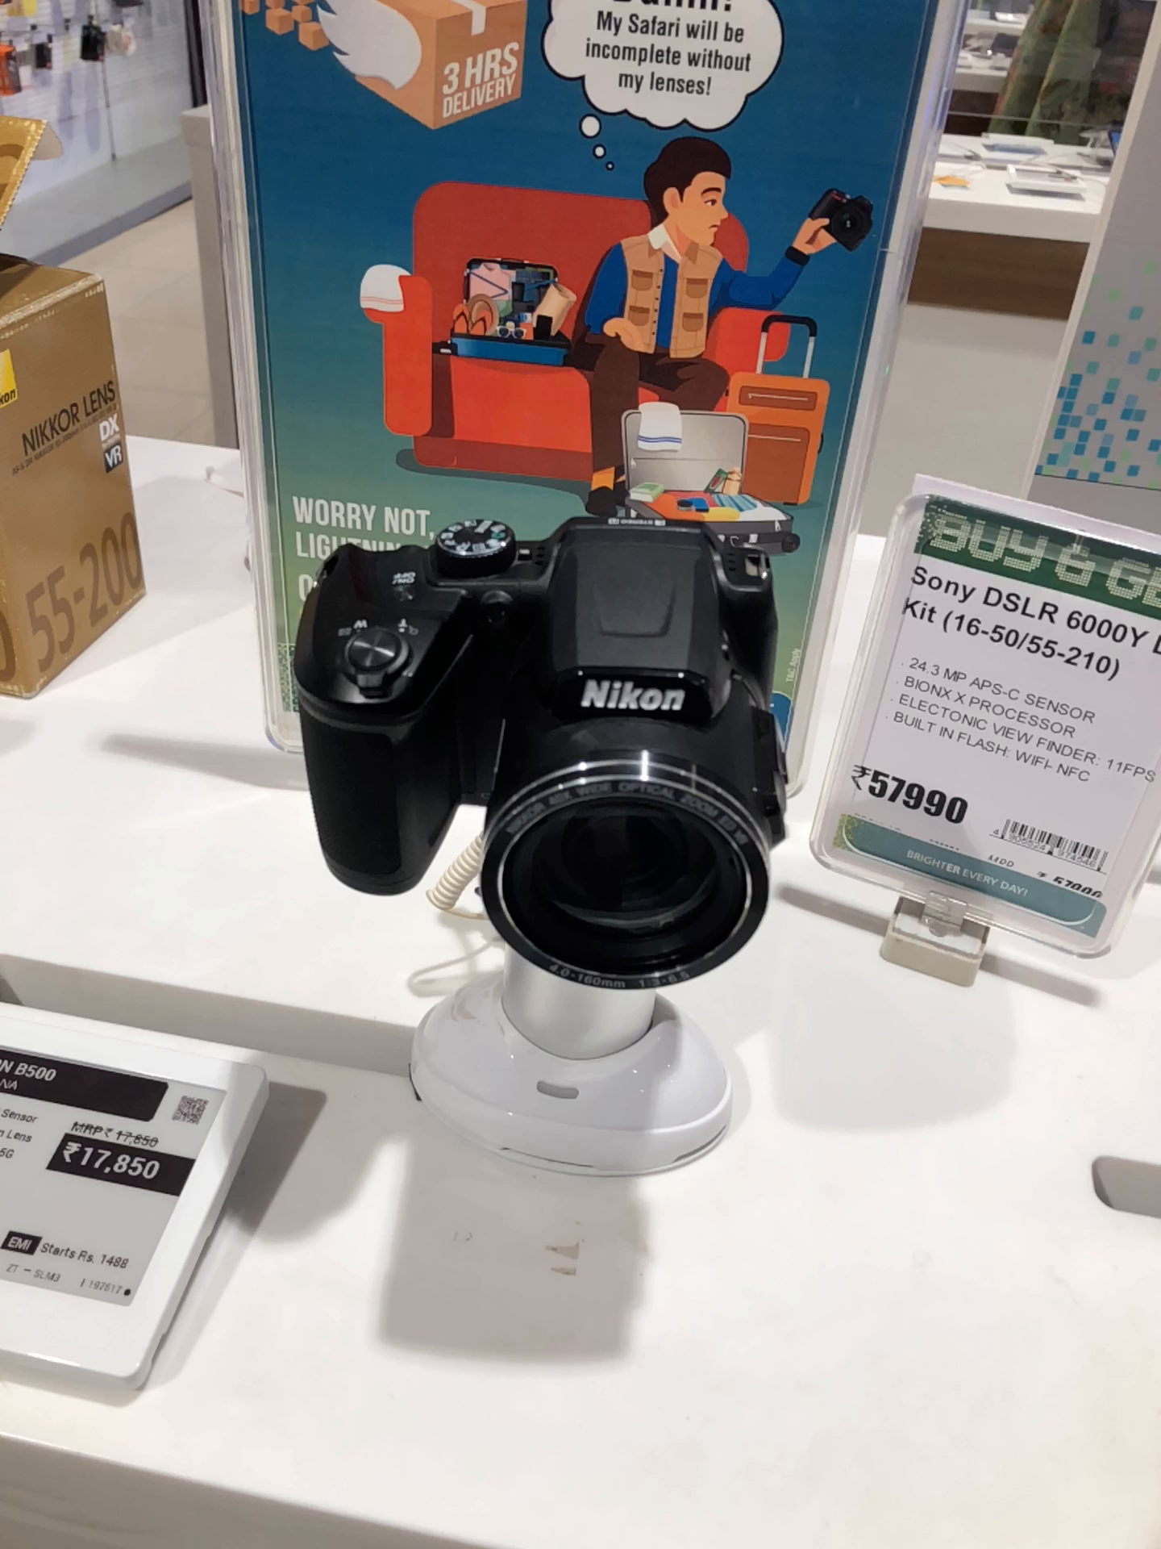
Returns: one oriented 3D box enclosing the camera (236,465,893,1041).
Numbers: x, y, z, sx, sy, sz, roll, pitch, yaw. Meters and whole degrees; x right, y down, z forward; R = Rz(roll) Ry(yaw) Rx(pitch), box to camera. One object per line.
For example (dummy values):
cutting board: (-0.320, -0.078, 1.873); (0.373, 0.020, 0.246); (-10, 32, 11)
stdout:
camera: (-0.004, -0.010, 0.279); (0.110, 0.070, 0.111); (3, 35, -2)
